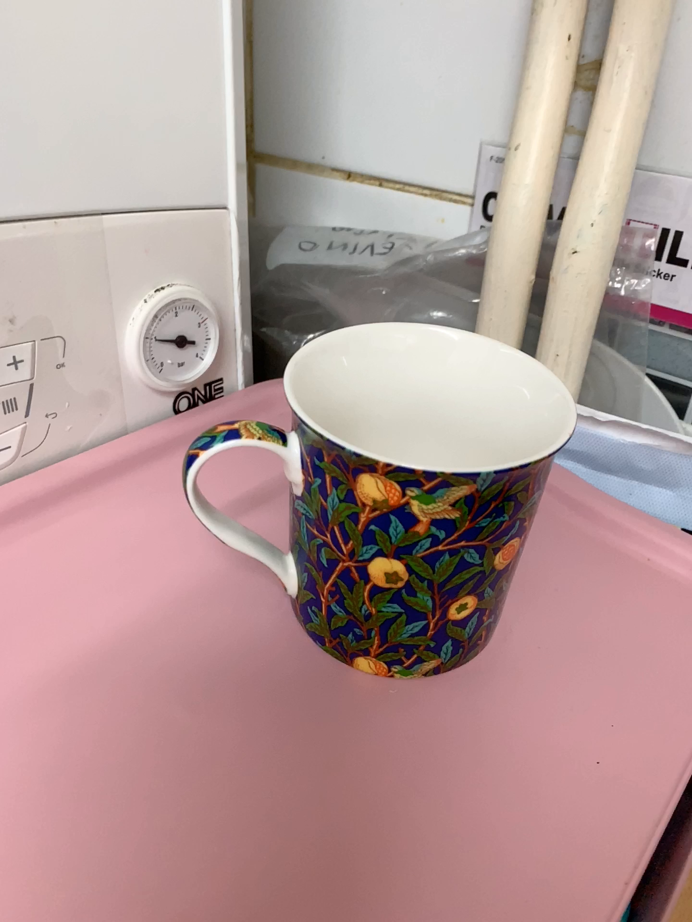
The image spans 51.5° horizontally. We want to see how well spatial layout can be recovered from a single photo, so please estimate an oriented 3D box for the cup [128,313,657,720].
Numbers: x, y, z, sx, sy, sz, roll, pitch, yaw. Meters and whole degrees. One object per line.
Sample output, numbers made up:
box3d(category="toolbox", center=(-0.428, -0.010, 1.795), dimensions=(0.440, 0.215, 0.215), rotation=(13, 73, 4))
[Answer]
box3d(category="cup", center=(0.005, 0.009, 0.212), dimensions=(0.120, 0.079, 0.081), rotation=(-3, 31, -11))
